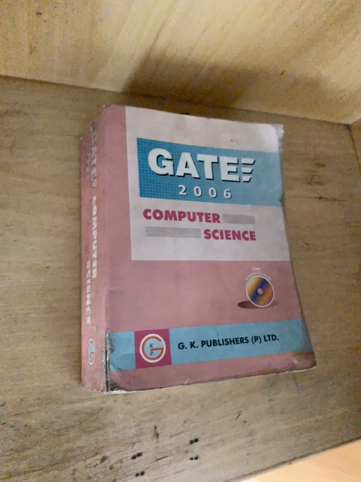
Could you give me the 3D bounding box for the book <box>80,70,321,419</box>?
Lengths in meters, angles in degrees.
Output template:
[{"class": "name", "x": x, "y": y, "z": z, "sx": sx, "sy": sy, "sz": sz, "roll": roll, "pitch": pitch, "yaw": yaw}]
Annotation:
[{"class": "book", "x": 0.009, "y": 0.000, "z": 0.354, "sx": 0.190, "sy": 0.080, "sz": 0.270, "roll": 3, "pitch": 74, "yaw": -23}]
